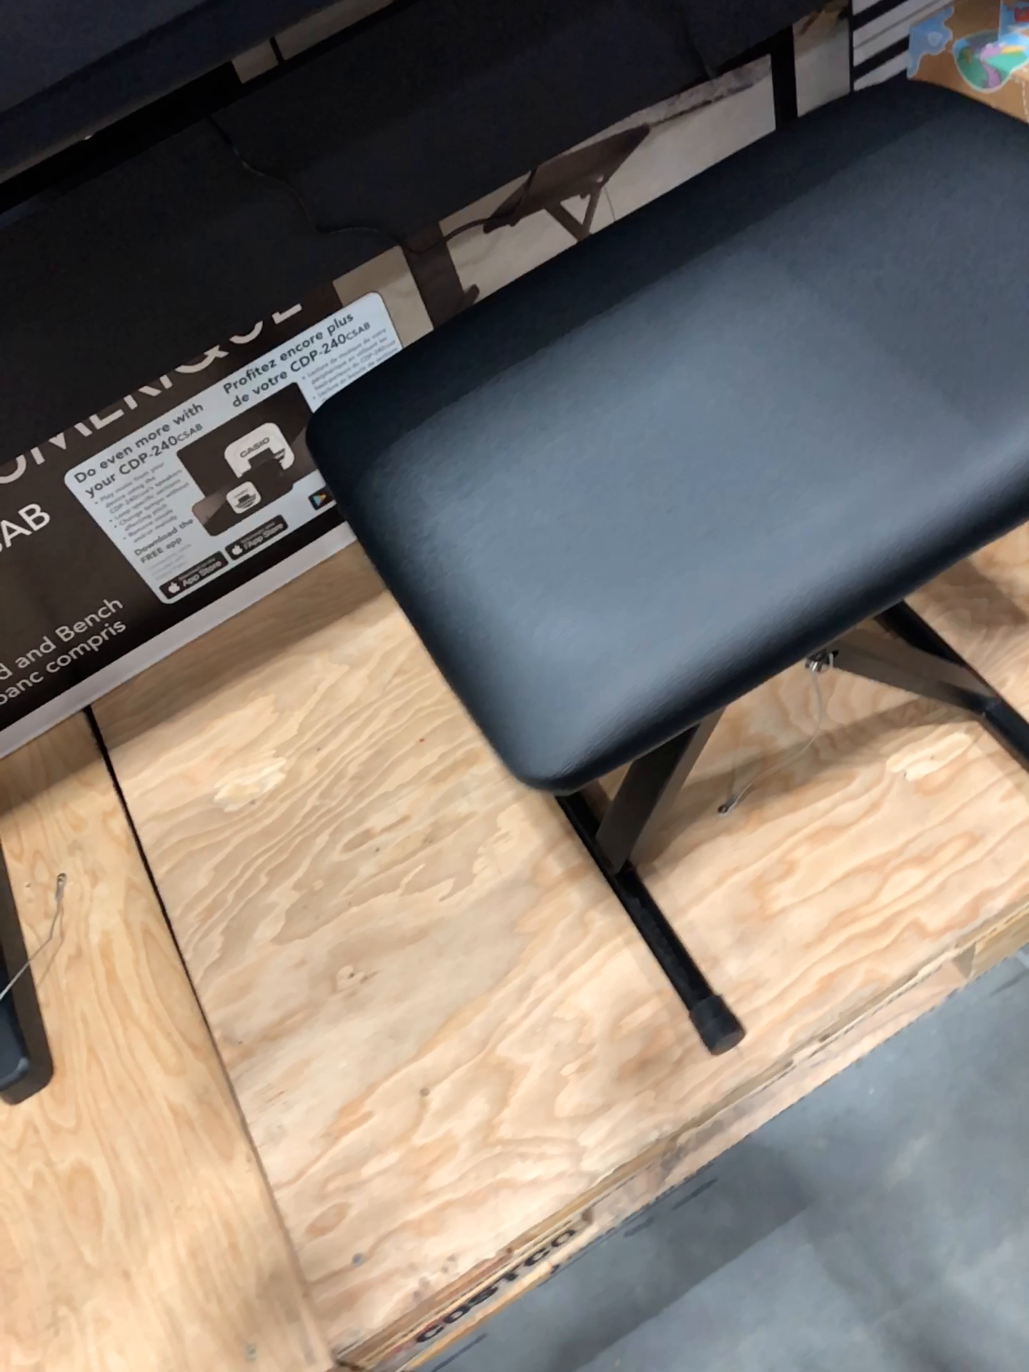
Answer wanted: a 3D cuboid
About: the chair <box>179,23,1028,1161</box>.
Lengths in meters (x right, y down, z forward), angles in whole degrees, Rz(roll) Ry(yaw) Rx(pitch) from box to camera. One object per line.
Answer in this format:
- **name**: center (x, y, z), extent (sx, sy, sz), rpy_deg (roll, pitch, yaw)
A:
- **chair**: center (0.150, -0.065, 0.652), extent (0.510, 0.279, 0.371), rpy_deg (-31, 53, -5)
